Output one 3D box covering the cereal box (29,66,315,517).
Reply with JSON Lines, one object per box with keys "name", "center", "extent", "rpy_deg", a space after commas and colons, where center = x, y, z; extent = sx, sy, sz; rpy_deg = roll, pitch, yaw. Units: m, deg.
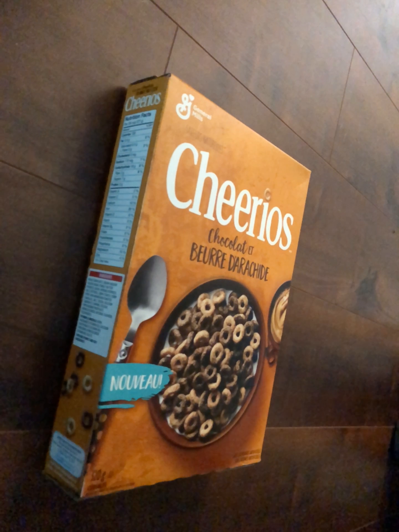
{"name": "cereal box", "center": [-0.004, 0.027, 0.377], "extent": [0.201, 0.060, 0.300], "rpy_deg": [15, 85, -45]}
